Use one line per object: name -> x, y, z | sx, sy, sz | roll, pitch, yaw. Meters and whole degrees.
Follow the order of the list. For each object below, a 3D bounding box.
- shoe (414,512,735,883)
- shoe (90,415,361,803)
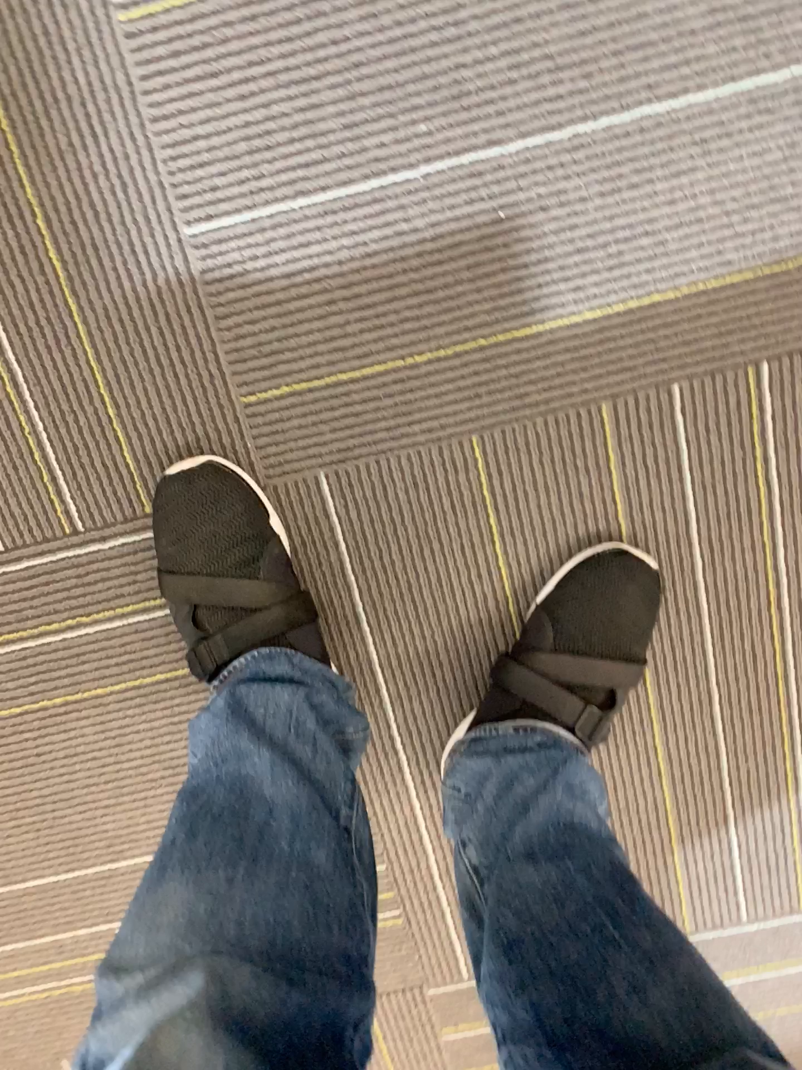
shoe -> 0.141, 0.149, 0.740 | 0.120, 0.110, 0.301 | 28, 107, -11
shoe -> -0.138, 0.065, 0.720 | 0.120, 0.120, 0.301 | -16, 110, 5
